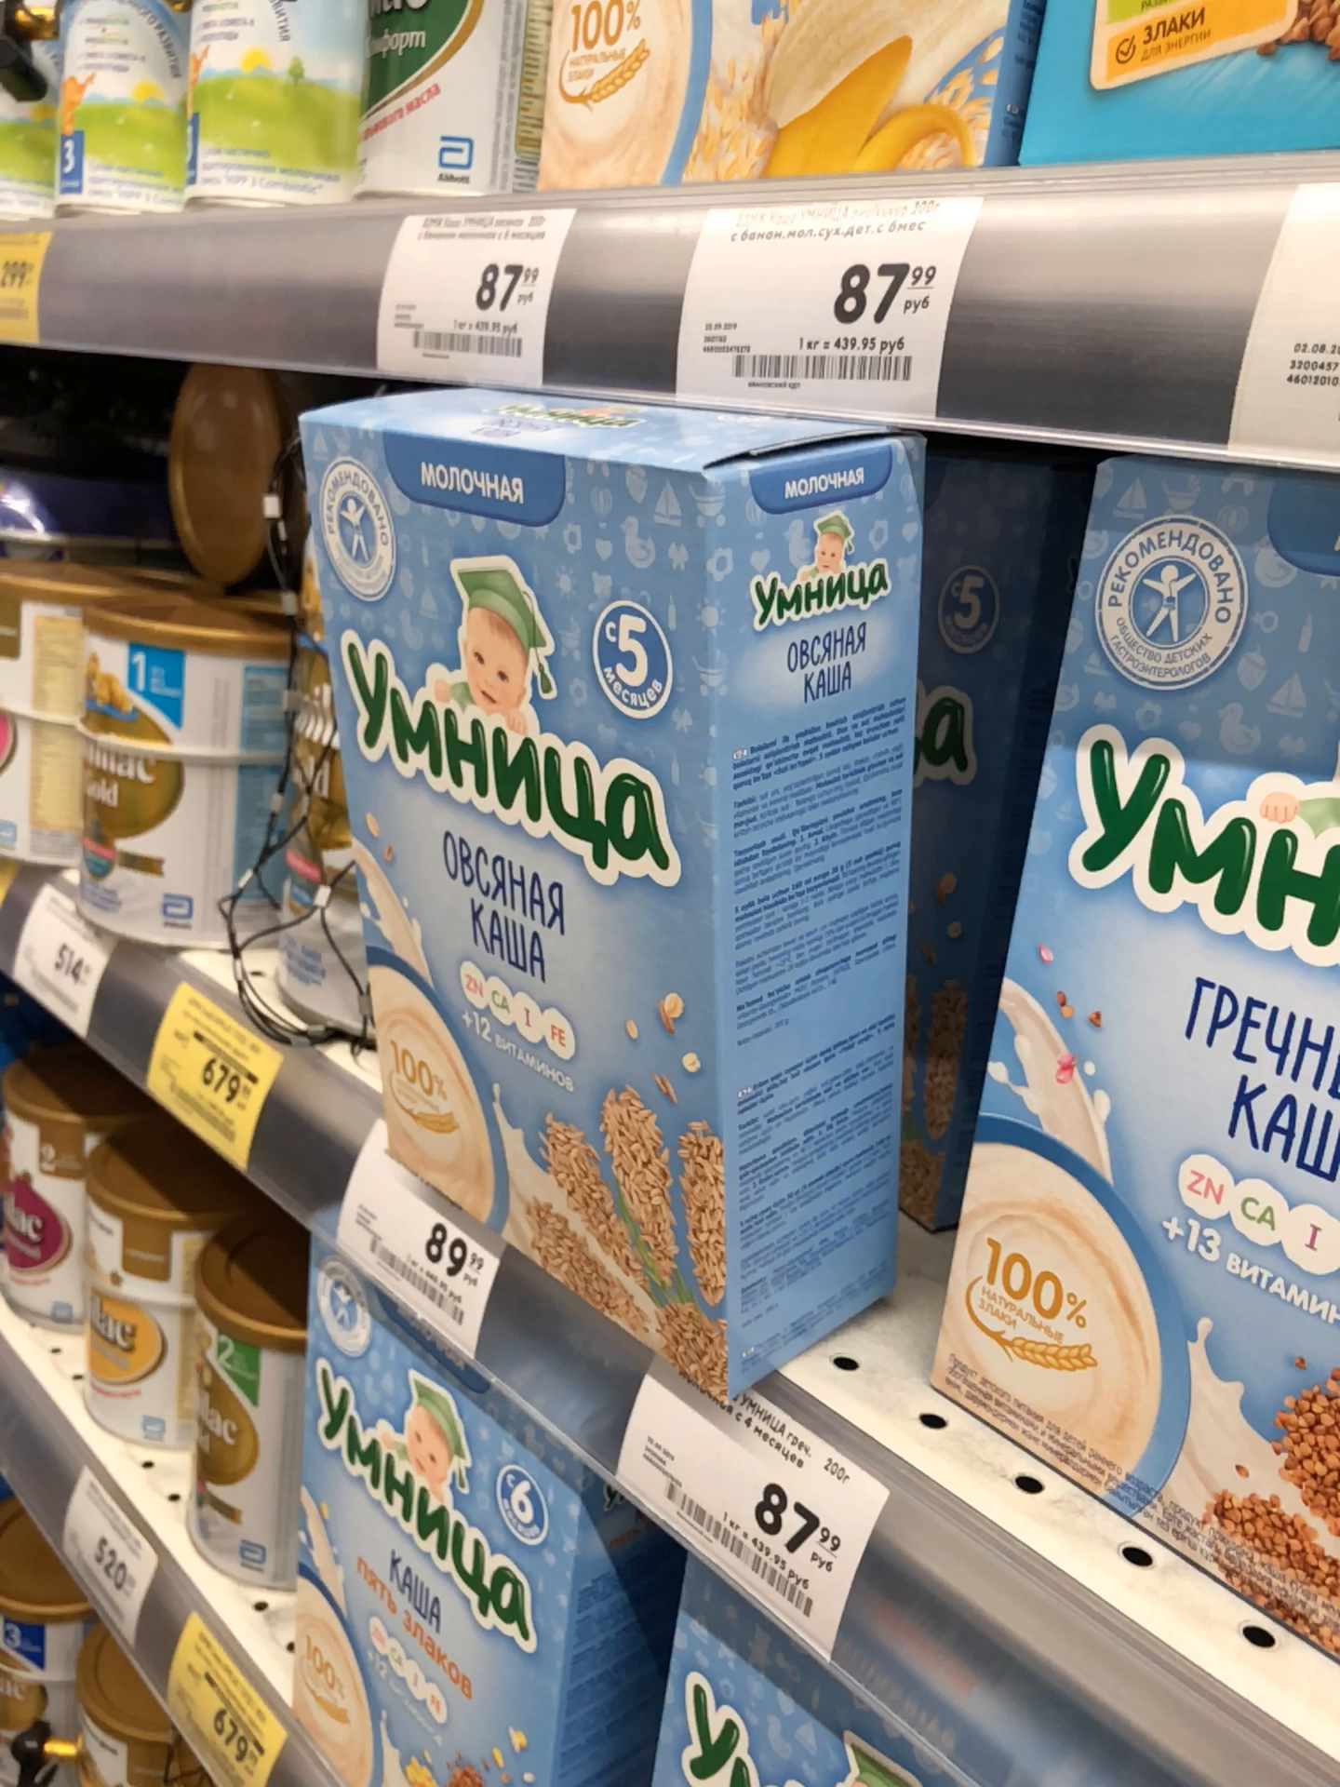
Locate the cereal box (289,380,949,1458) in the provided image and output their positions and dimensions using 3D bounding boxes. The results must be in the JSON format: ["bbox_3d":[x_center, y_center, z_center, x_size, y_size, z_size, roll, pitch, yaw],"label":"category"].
[{"bbox_3d":[-0.013,-0.003,0.345,0.060,0.209,0.140,-21,29,-36],"label":"cereal box"}]
